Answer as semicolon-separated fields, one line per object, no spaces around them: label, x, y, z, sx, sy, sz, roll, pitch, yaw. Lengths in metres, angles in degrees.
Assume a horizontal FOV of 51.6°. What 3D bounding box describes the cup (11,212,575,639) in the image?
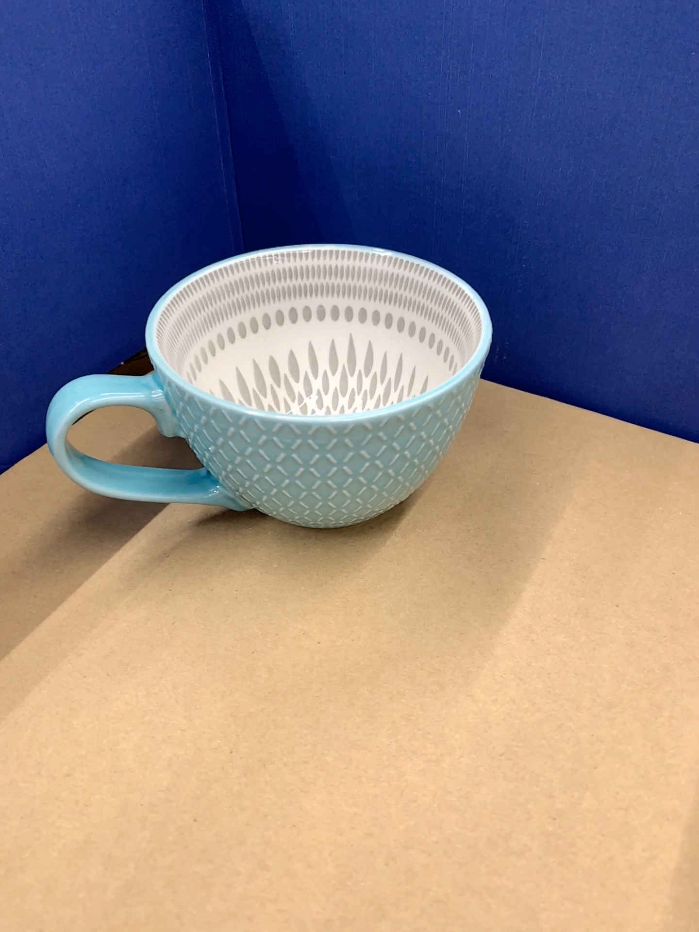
cup;-0.025;-0.026;0.252;0.152;0.059;0.113;-15;45;-17
